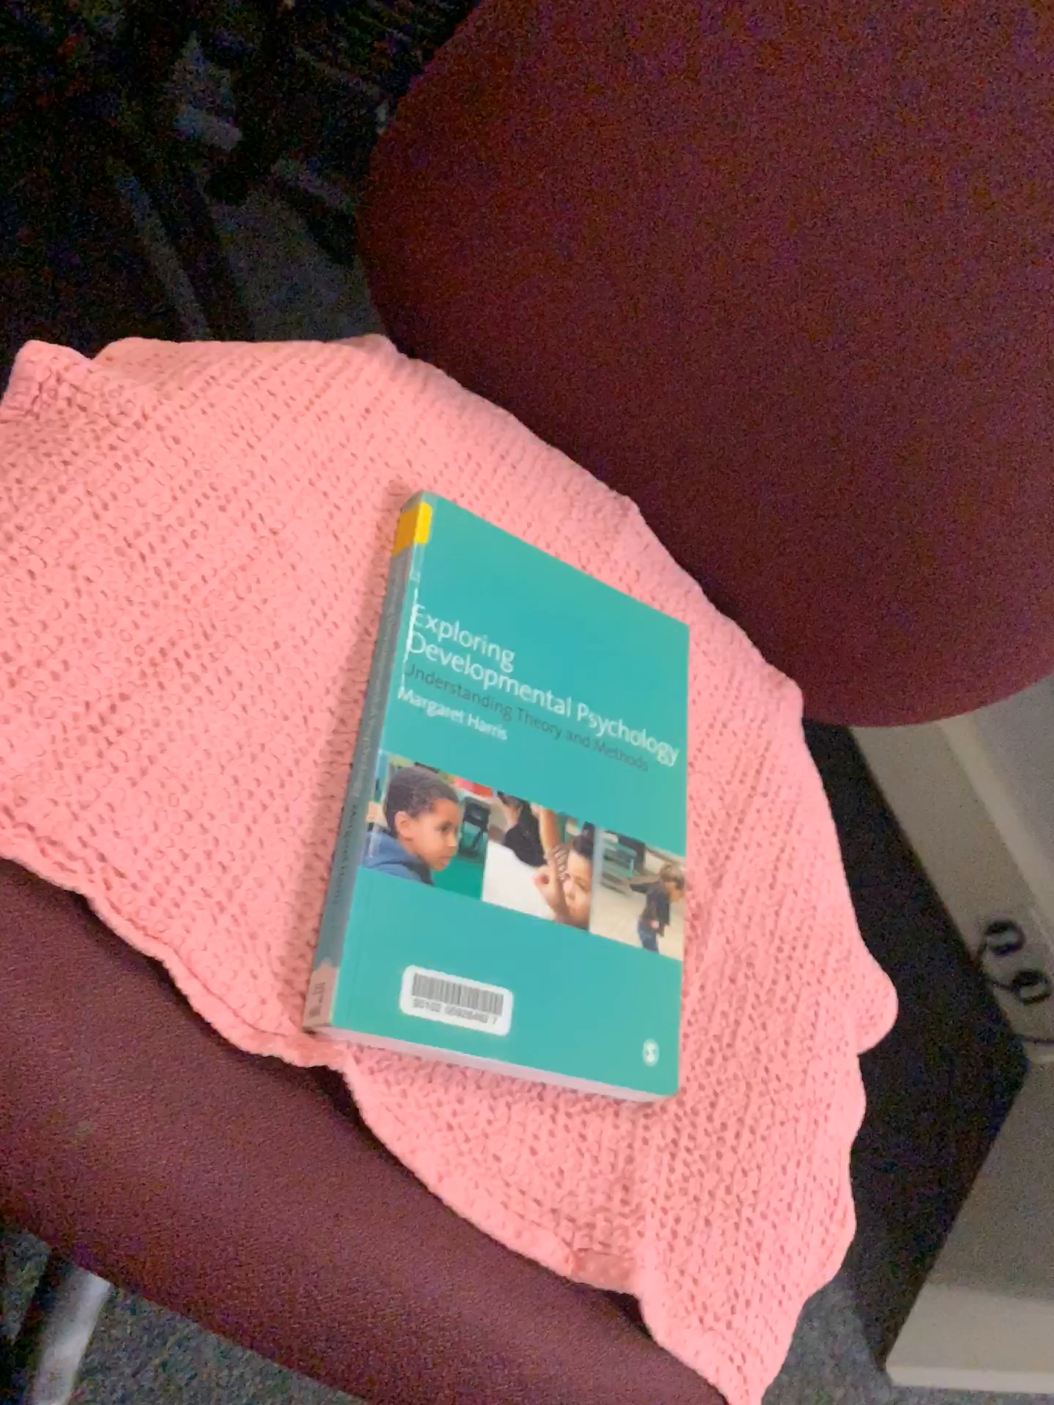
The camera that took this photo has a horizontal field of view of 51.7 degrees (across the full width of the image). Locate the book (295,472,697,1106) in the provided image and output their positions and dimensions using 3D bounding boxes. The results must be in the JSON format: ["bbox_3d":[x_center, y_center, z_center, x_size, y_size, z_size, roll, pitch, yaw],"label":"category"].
[{"bbox_3d":[0.003,0.039,0.488,0.176,0.030,0.246,23,57,-31],"label":"book"}]
